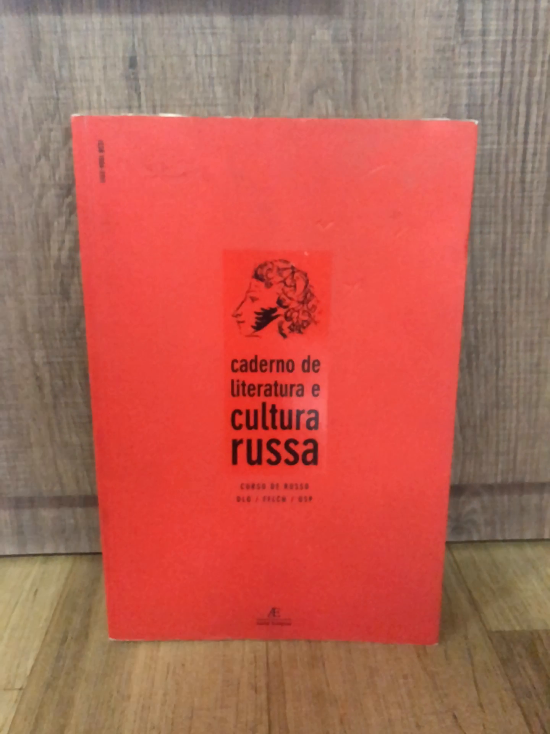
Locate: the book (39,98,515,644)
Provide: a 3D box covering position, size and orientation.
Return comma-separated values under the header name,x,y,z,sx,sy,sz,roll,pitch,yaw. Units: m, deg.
name,x,y,z,sx,sy,sz,roll,pitch,yaw
book,0.001,0.010,0.292,0.187,0.249,0.040,0,15,1
